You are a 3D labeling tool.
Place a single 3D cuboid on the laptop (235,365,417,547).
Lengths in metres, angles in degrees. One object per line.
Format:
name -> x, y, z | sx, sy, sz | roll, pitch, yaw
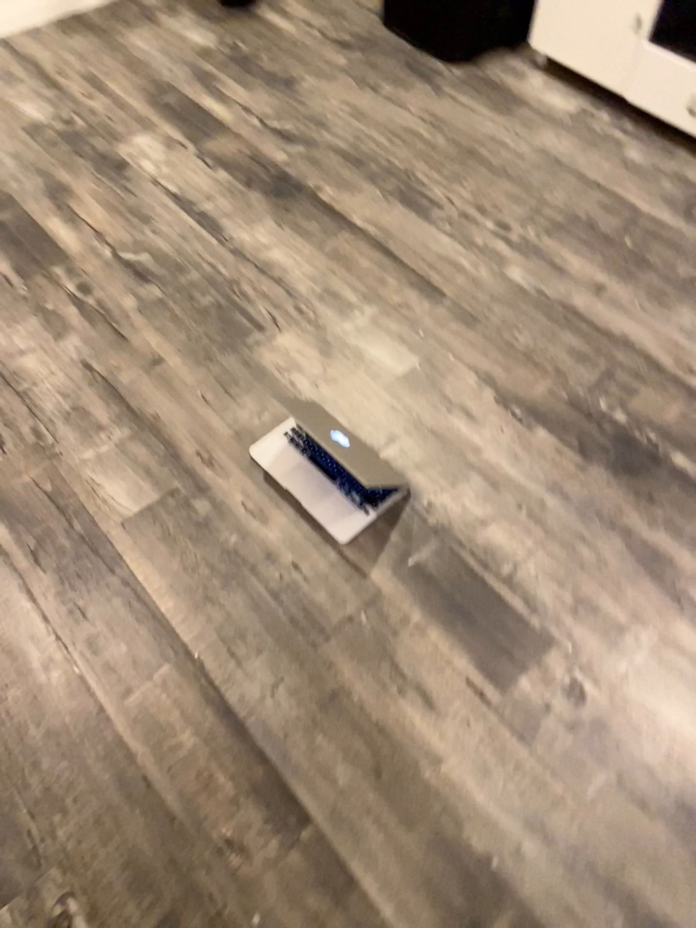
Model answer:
laptop -> -0.045, -0.022, 1.378 | 0.193, 0.132, 0.292 | -38, 63, -25
